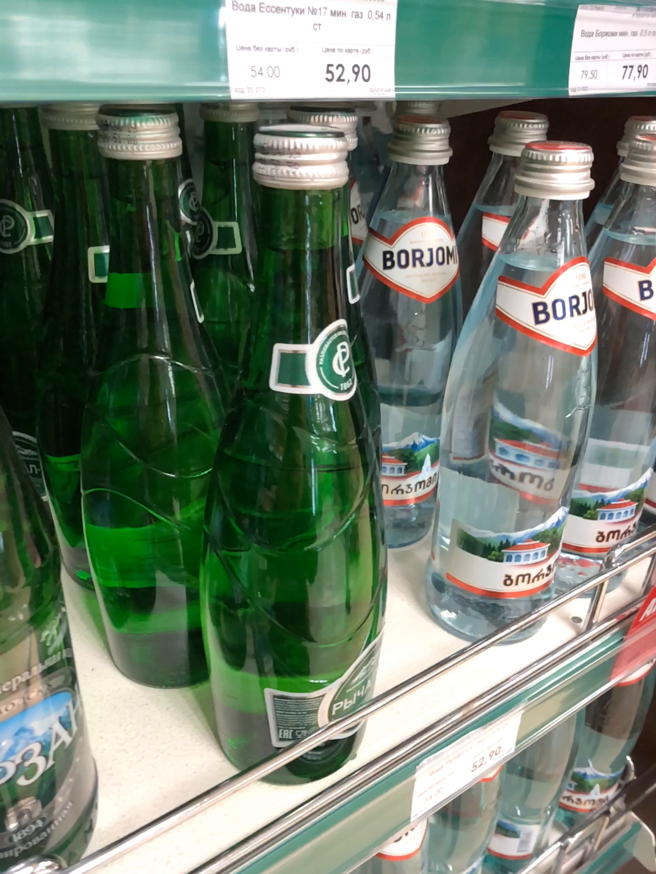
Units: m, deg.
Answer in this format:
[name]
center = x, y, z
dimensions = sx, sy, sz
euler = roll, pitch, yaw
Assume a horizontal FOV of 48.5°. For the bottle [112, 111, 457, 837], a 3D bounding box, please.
[bottle]
center = -0.014, 0.021, 0.278
dimensions = 0.070, 0.259, 0.080
euler = 17, 32, 27
